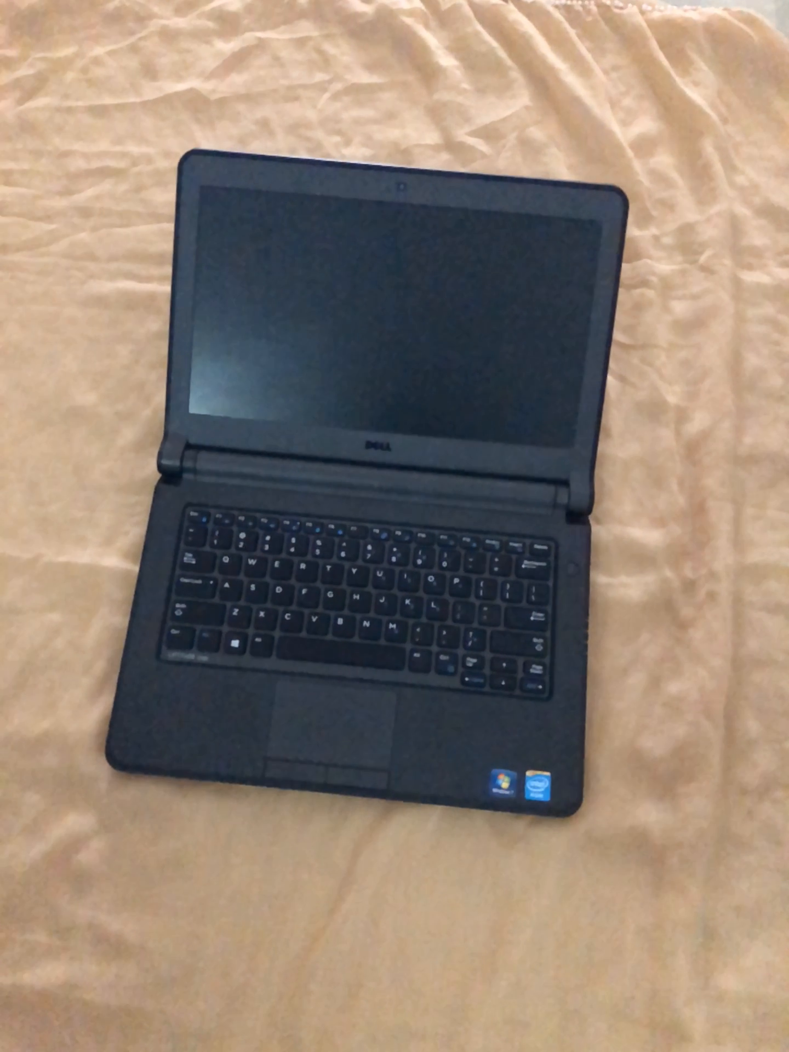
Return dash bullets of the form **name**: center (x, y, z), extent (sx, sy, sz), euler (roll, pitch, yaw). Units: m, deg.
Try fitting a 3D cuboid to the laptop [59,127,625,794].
- **laptop**: center (-0.015, -0.050, 0.583), extent (0.308, 0.092, 0.410), euler (5, 74, 1)
